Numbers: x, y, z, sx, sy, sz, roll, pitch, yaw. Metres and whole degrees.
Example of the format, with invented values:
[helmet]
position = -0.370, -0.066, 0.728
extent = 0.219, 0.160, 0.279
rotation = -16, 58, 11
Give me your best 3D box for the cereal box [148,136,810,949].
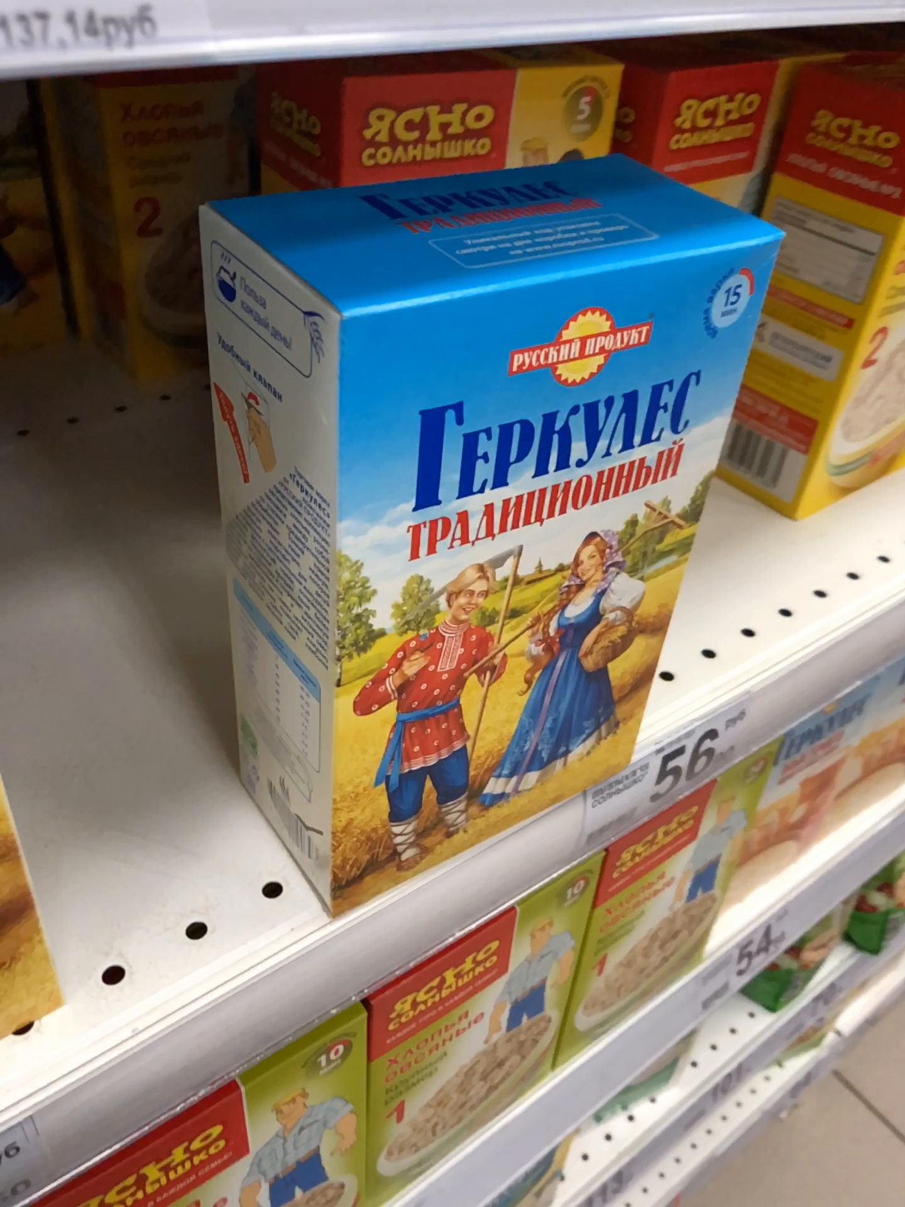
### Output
[cereal box]
position = 0.002, -0.015, 0.280
extent = 0.130, 0.189, 0.070
rotation = -21, 46, -29
